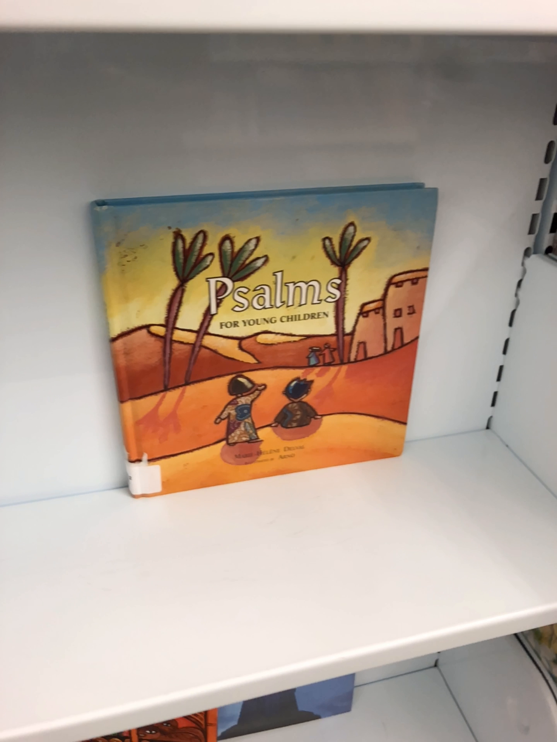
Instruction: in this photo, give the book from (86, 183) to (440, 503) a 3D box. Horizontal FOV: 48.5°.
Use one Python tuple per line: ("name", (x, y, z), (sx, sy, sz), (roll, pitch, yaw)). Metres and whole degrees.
("book", (-0.006, -0.015, 0.416), (0.212, 0.205, 0.021), (-7, 29, -14))
